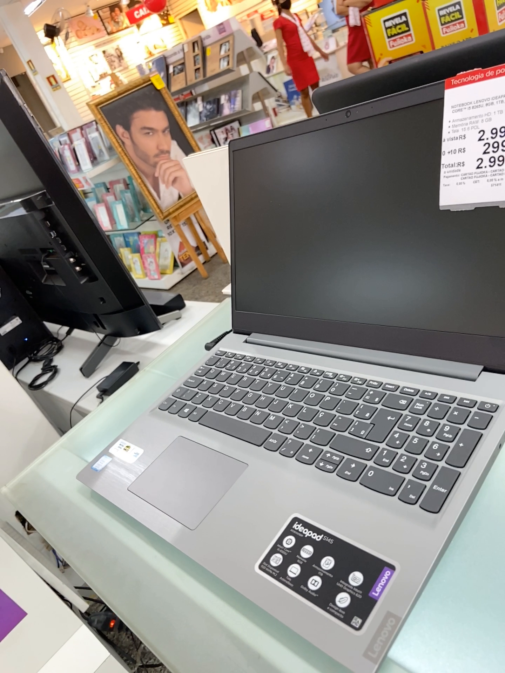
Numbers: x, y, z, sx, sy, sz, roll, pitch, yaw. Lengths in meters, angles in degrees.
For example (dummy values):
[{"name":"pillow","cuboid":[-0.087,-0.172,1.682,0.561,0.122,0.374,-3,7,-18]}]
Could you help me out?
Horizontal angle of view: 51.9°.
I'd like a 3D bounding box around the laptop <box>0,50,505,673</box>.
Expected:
[{"name":"laptop","cuboid":[0.015,-0.032,0.447,0.355,0.195,0.370,8,43,46]}]
